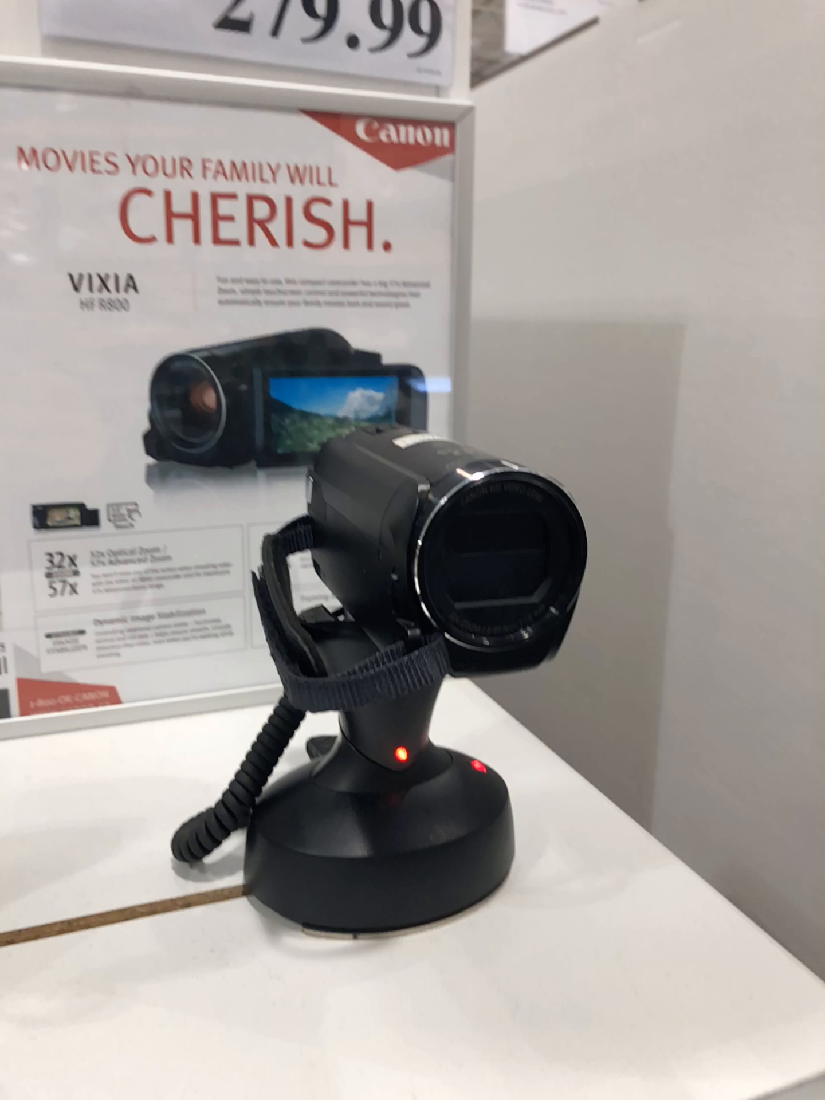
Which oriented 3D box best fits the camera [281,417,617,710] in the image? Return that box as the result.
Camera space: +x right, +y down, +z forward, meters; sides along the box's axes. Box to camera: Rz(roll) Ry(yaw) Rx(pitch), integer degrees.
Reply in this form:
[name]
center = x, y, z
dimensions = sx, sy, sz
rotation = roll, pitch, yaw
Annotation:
[camera]
center = 0.002, -0.006, 0.292
dimensions = 0.060, 0.060, 0.130
rotation = -4, 14, -19
